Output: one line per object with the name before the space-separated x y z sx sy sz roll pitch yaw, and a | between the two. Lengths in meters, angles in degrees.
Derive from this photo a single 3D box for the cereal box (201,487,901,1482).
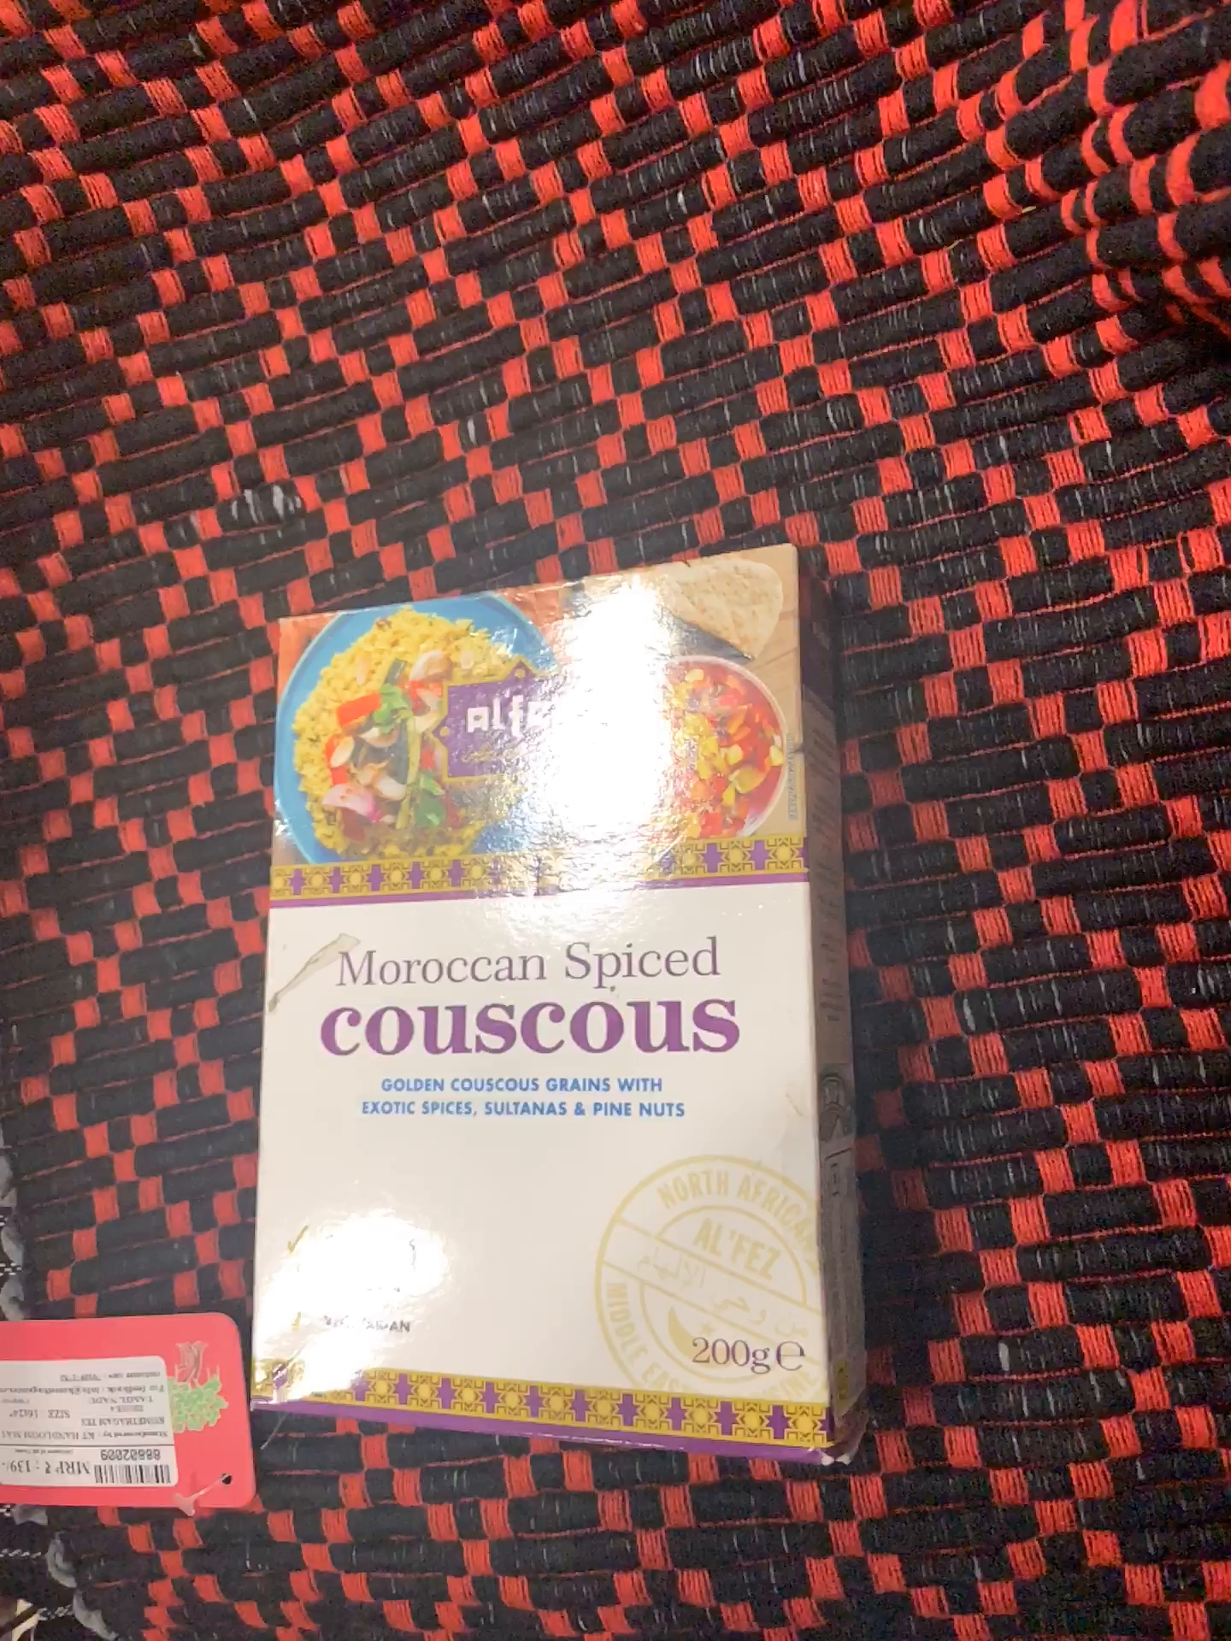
cereal box | -0.011 0.029 0.251 0.120 0.050 0.160 -4 80 20
